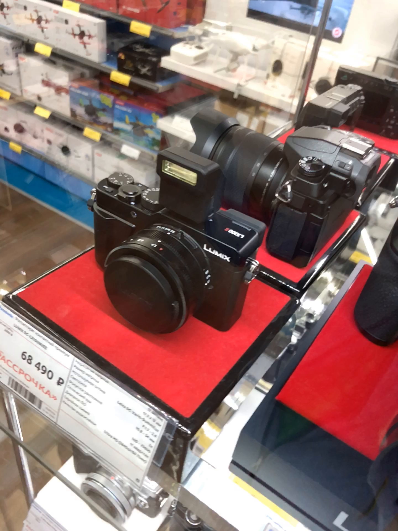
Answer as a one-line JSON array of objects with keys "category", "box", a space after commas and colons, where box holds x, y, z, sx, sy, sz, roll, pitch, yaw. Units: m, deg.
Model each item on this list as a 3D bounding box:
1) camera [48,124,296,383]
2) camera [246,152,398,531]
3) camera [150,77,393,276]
[{"category": "camera", "box": [-0.020, -0.012, 0.269, 0.117, 0.098, 0.069, 28, 41, 22]}, {"category": "camera", "box": [0.164, 0.060, 0.213, 0.175, 0.114, 0.227, 28, 41, 22]}, {"category": "camera", "box": [0.052, -0.080, 0.353, 0.149, 0.081, 0.099, 30, 42, 24]}]
